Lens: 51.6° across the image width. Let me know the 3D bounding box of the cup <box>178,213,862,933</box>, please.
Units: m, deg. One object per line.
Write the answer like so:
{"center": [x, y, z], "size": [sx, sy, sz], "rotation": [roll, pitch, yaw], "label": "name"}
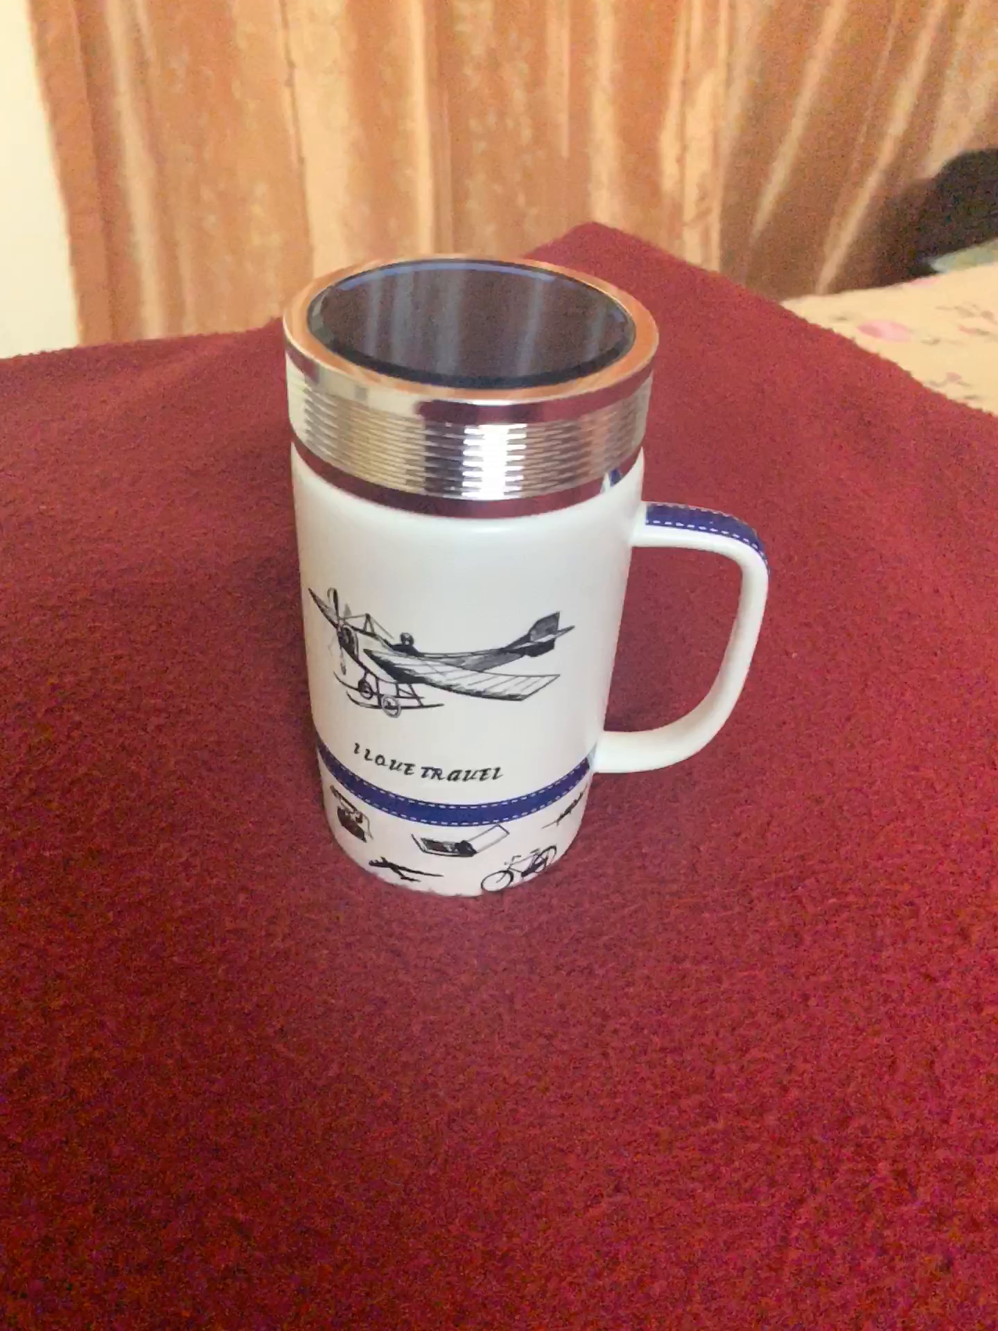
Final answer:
{"center": [0.006, -0.022, 0.258], "size": [0.120, 0.139, 0.091], "rotation": [7, 40, 5], "label": "cup"}
